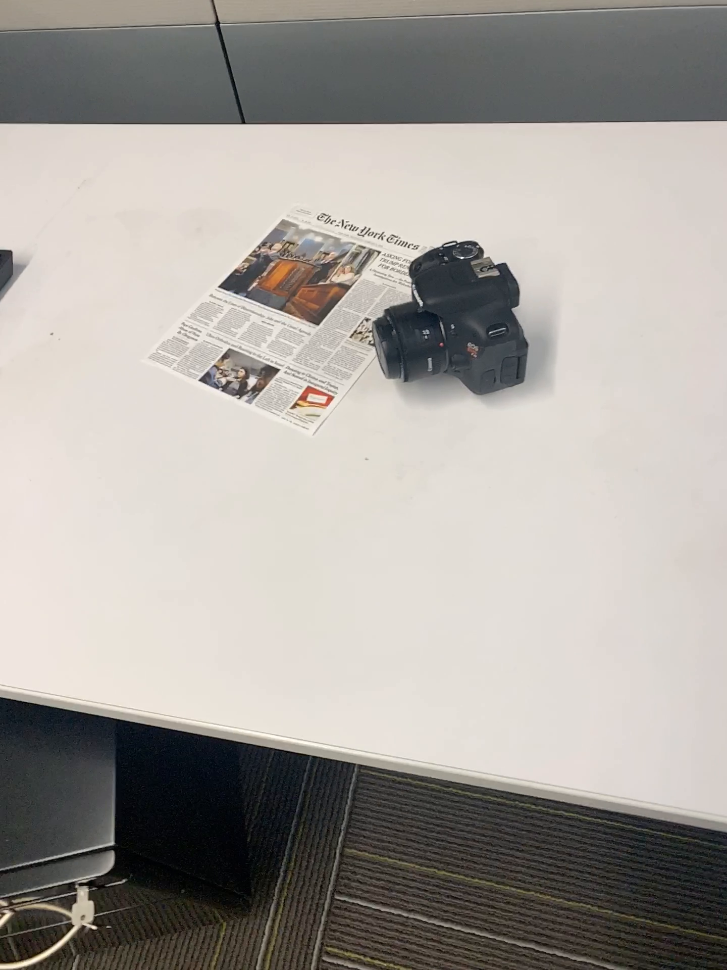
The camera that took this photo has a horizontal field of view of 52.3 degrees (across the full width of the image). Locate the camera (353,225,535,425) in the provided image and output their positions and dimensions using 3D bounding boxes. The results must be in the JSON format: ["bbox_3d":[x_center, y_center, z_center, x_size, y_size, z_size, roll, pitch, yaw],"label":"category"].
[{"bbox_3d":[0.064,-0.132,0.617,0.114,0.090,0.109,-15,55,-2],"label":"camera"}]
